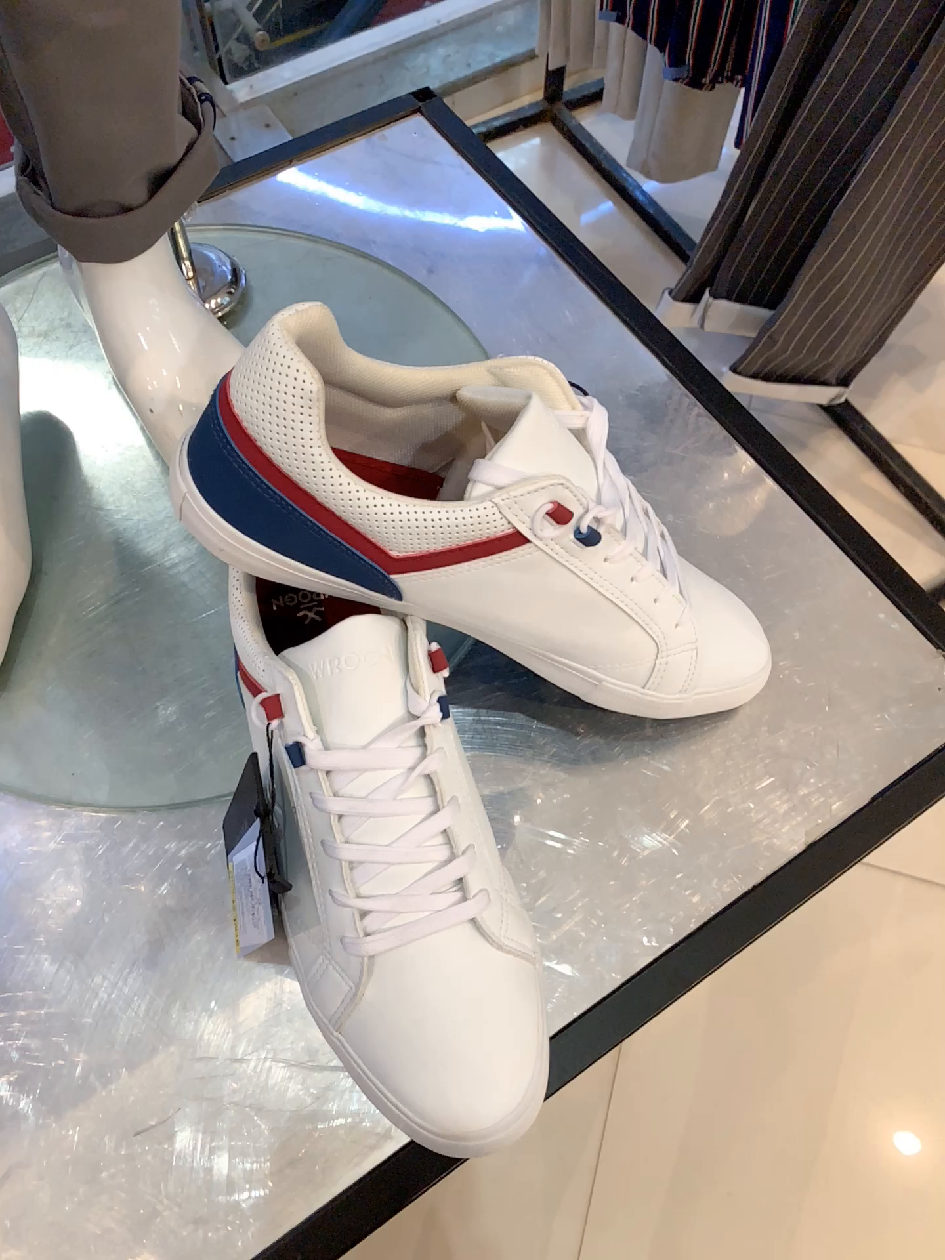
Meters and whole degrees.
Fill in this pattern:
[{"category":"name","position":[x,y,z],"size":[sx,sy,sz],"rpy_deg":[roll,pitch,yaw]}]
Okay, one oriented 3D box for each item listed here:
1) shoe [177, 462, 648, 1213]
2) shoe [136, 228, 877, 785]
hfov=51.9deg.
[{"category":"shoe","position":[-0.041,0.077,0.423],"size":[0.100,0.100,0.281],"rpy_deg":[-14,66,-17]},{"category":"shoe","position":[0.018,-0.041,0.412],"size":[0.280,0.100,0.101],"rpy_deg":[21,54,-11]}]
